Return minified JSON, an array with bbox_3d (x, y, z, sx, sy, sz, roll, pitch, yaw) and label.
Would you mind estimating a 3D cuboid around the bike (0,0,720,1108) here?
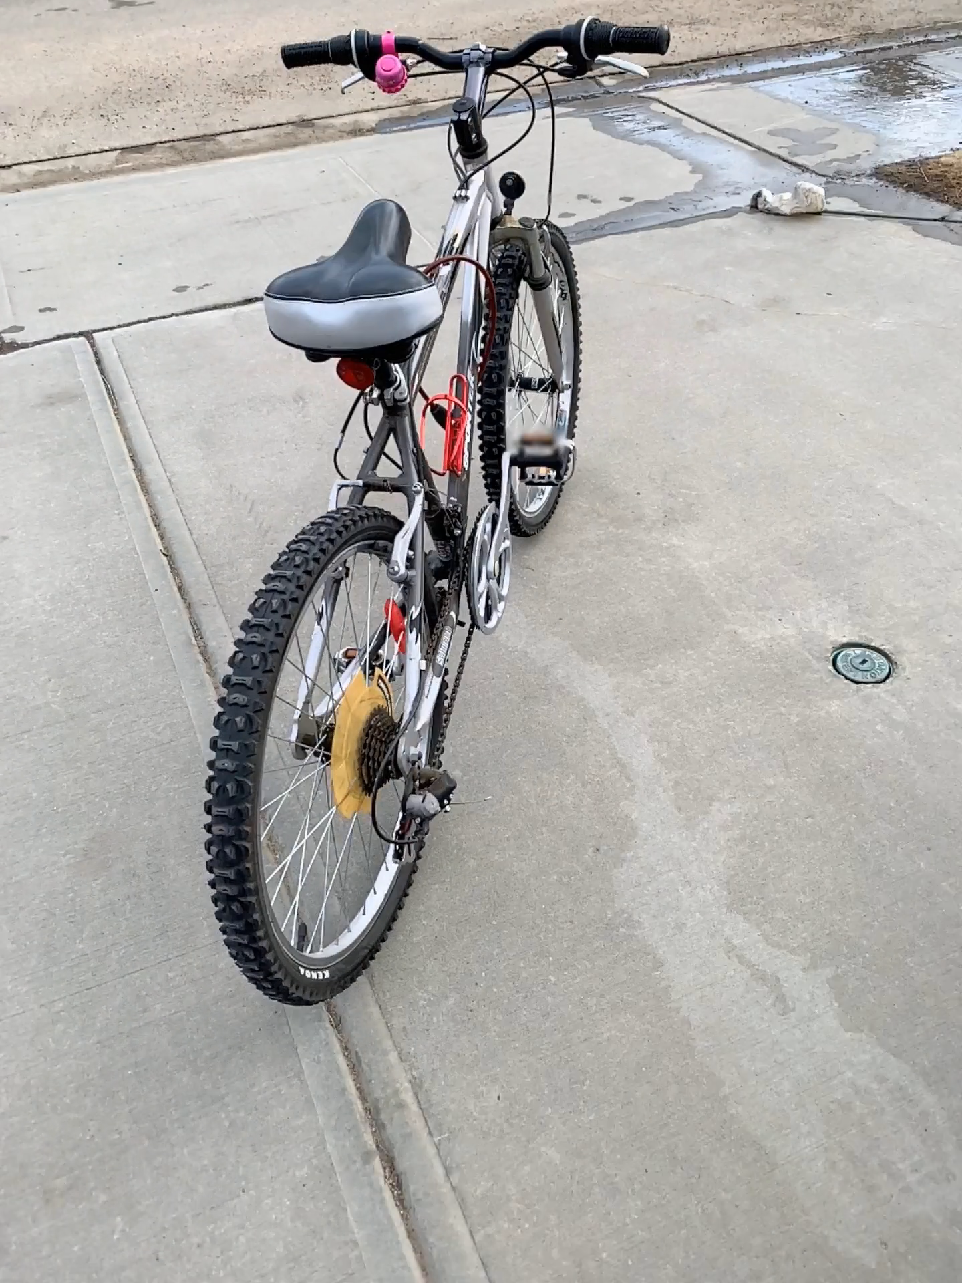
[{"bbox_3d":[-0.069,-0.324,1.395,0.539,0.825,1.507,10,47,12],"label":"bike"}]
